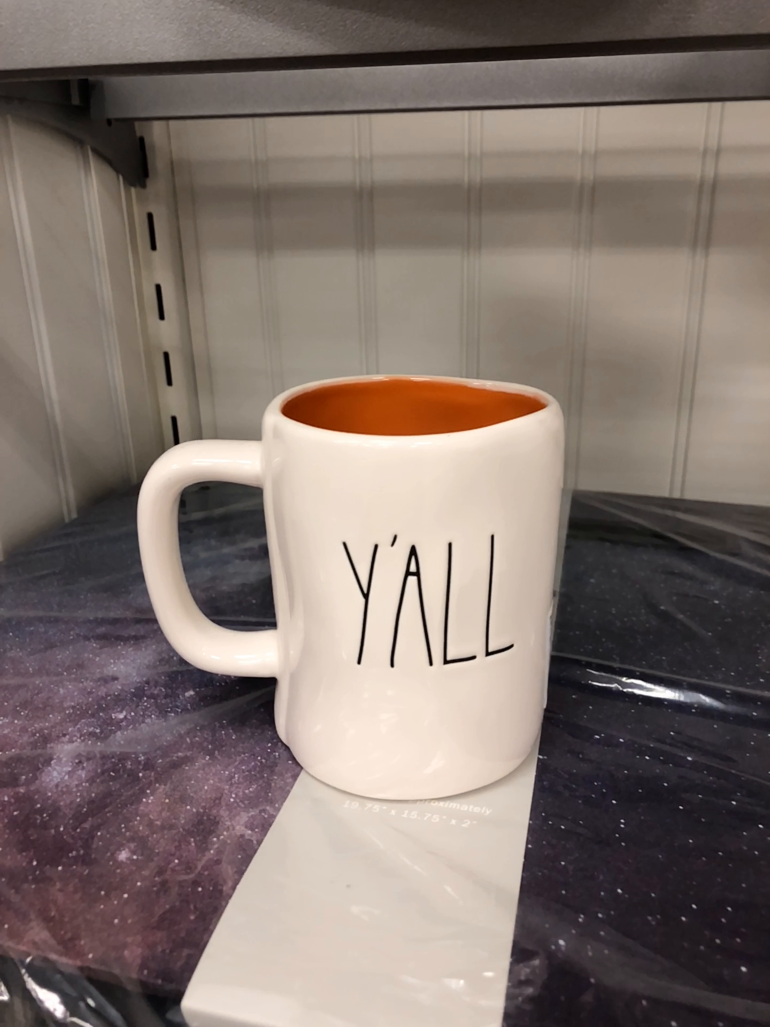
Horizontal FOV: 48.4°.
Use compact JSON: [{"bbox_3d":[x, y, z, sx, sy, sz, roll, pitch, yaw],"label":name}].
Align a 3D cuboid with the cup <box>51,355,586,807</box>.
[{"bbox_3d":[-0.014,0.017,0.286,0.140,0.119,0.091,0,21,4],"label":"cup"}]
